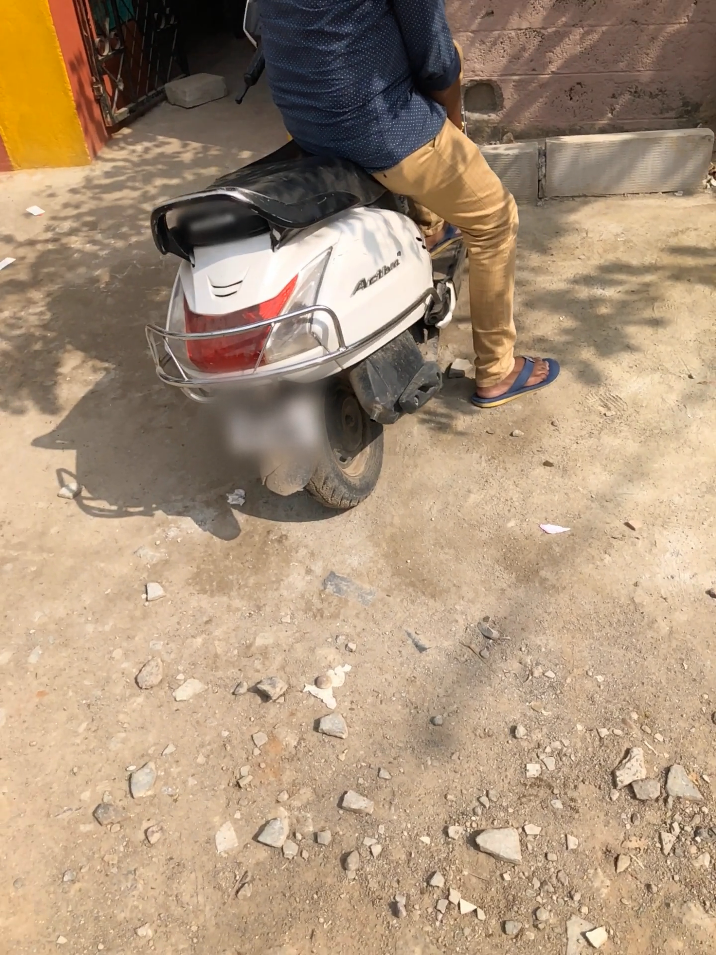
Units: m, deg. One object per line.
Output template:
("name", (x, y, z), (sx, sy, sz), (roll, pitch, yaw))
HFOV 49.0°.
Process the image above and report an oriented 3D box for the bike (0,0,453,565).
("bike", (-0.140, -0.807, 2.155), (0.620, 1.187, 1.604), (5, 41, 12))
